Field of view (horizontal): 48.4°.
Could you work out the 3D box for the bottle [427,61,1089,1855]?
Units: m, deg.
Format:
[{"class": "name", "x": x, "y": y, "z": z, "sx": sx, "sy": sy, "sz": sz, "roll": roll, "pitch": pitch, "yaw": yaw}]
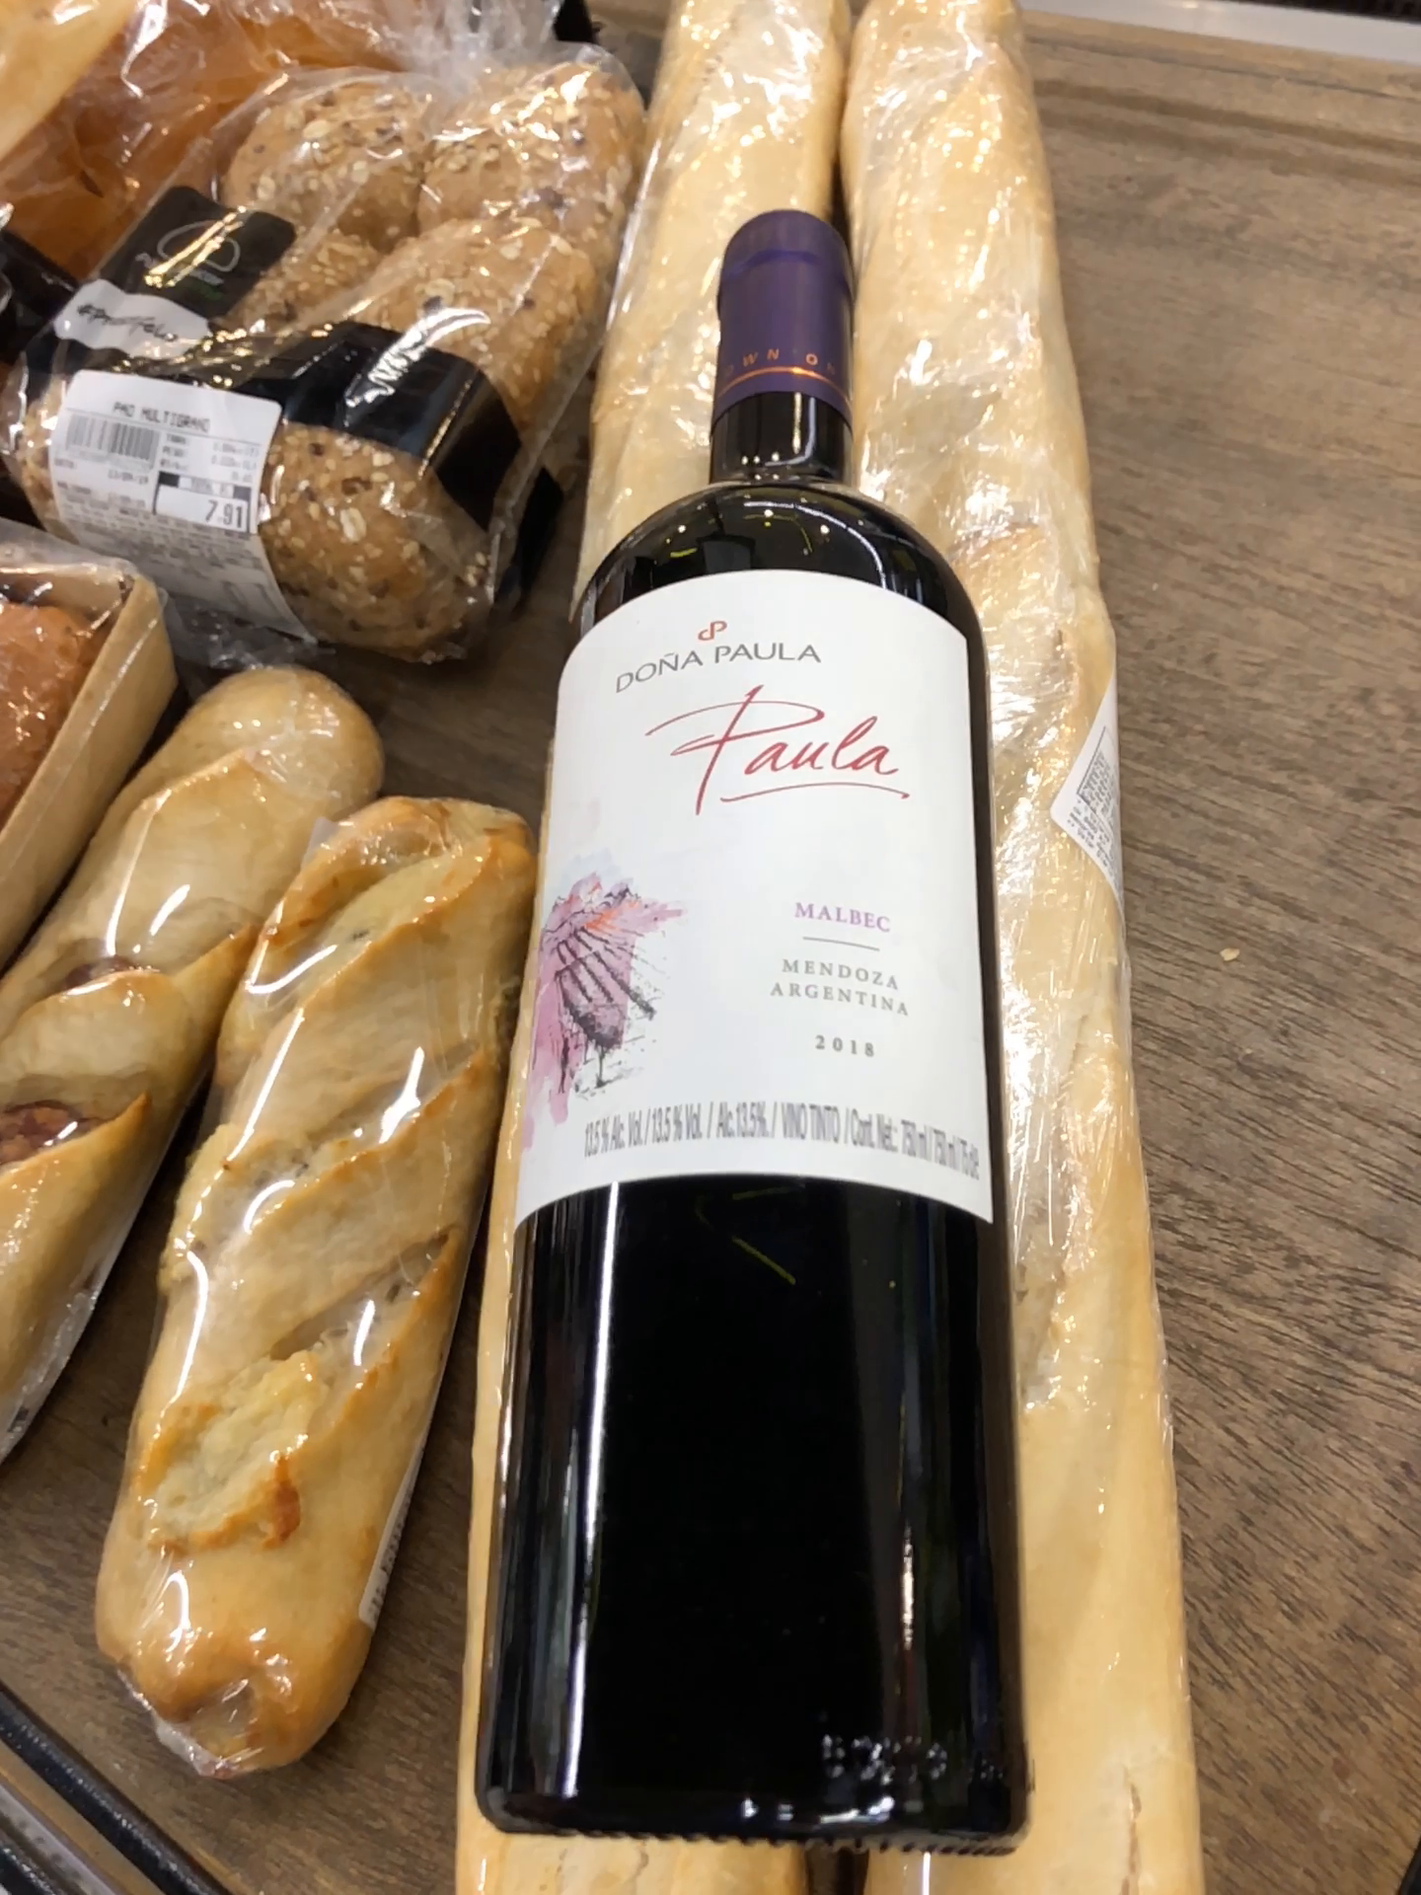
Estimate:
[{"class": "bottle", "x": 0.014, "y": -0.023, "z": 0.264, "sx": 0.070, "sy": 0.060, "sz": 0.301, "roll": -4, "pitch": 60, "yaw": 11}]
